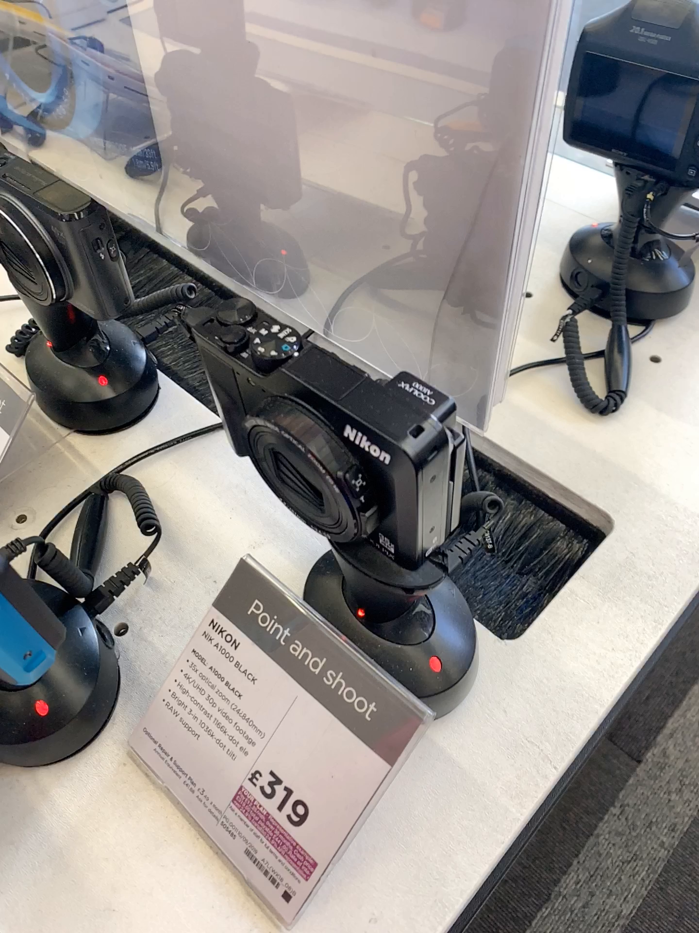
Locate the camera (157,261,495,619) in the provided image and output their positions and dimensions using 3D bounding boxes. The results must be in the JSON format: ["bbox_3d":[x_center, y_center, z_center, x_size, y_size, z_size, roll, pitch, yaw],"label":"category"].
[{"bbox_3d":[-0.011,-0.010,0.259,0.121,0.079,0.030,35,61,27],"label":"camera"}]
